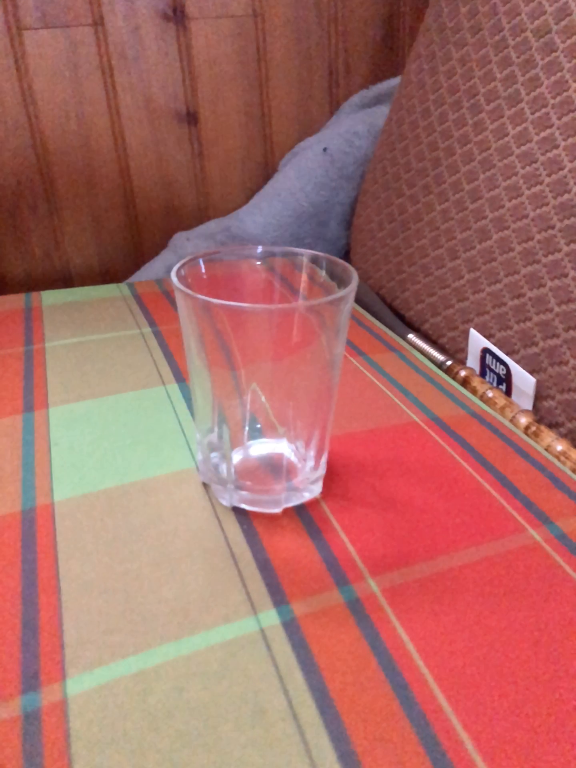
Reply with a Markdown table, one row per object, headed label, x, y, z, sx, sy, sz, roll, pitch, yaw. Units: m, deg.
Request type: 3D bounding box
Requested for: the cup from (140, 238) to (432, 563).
| label | x | y | z | sx | sy | sz | roll | pitch | yaw |
| --- | --- | --- | --- | --- | --- | --- | --- | --- | --- |
| cup | -0.001 | 0.000 | 0.235 | 0.070 | 0.080 | 0.070 | 0 | 30 | 0 |
